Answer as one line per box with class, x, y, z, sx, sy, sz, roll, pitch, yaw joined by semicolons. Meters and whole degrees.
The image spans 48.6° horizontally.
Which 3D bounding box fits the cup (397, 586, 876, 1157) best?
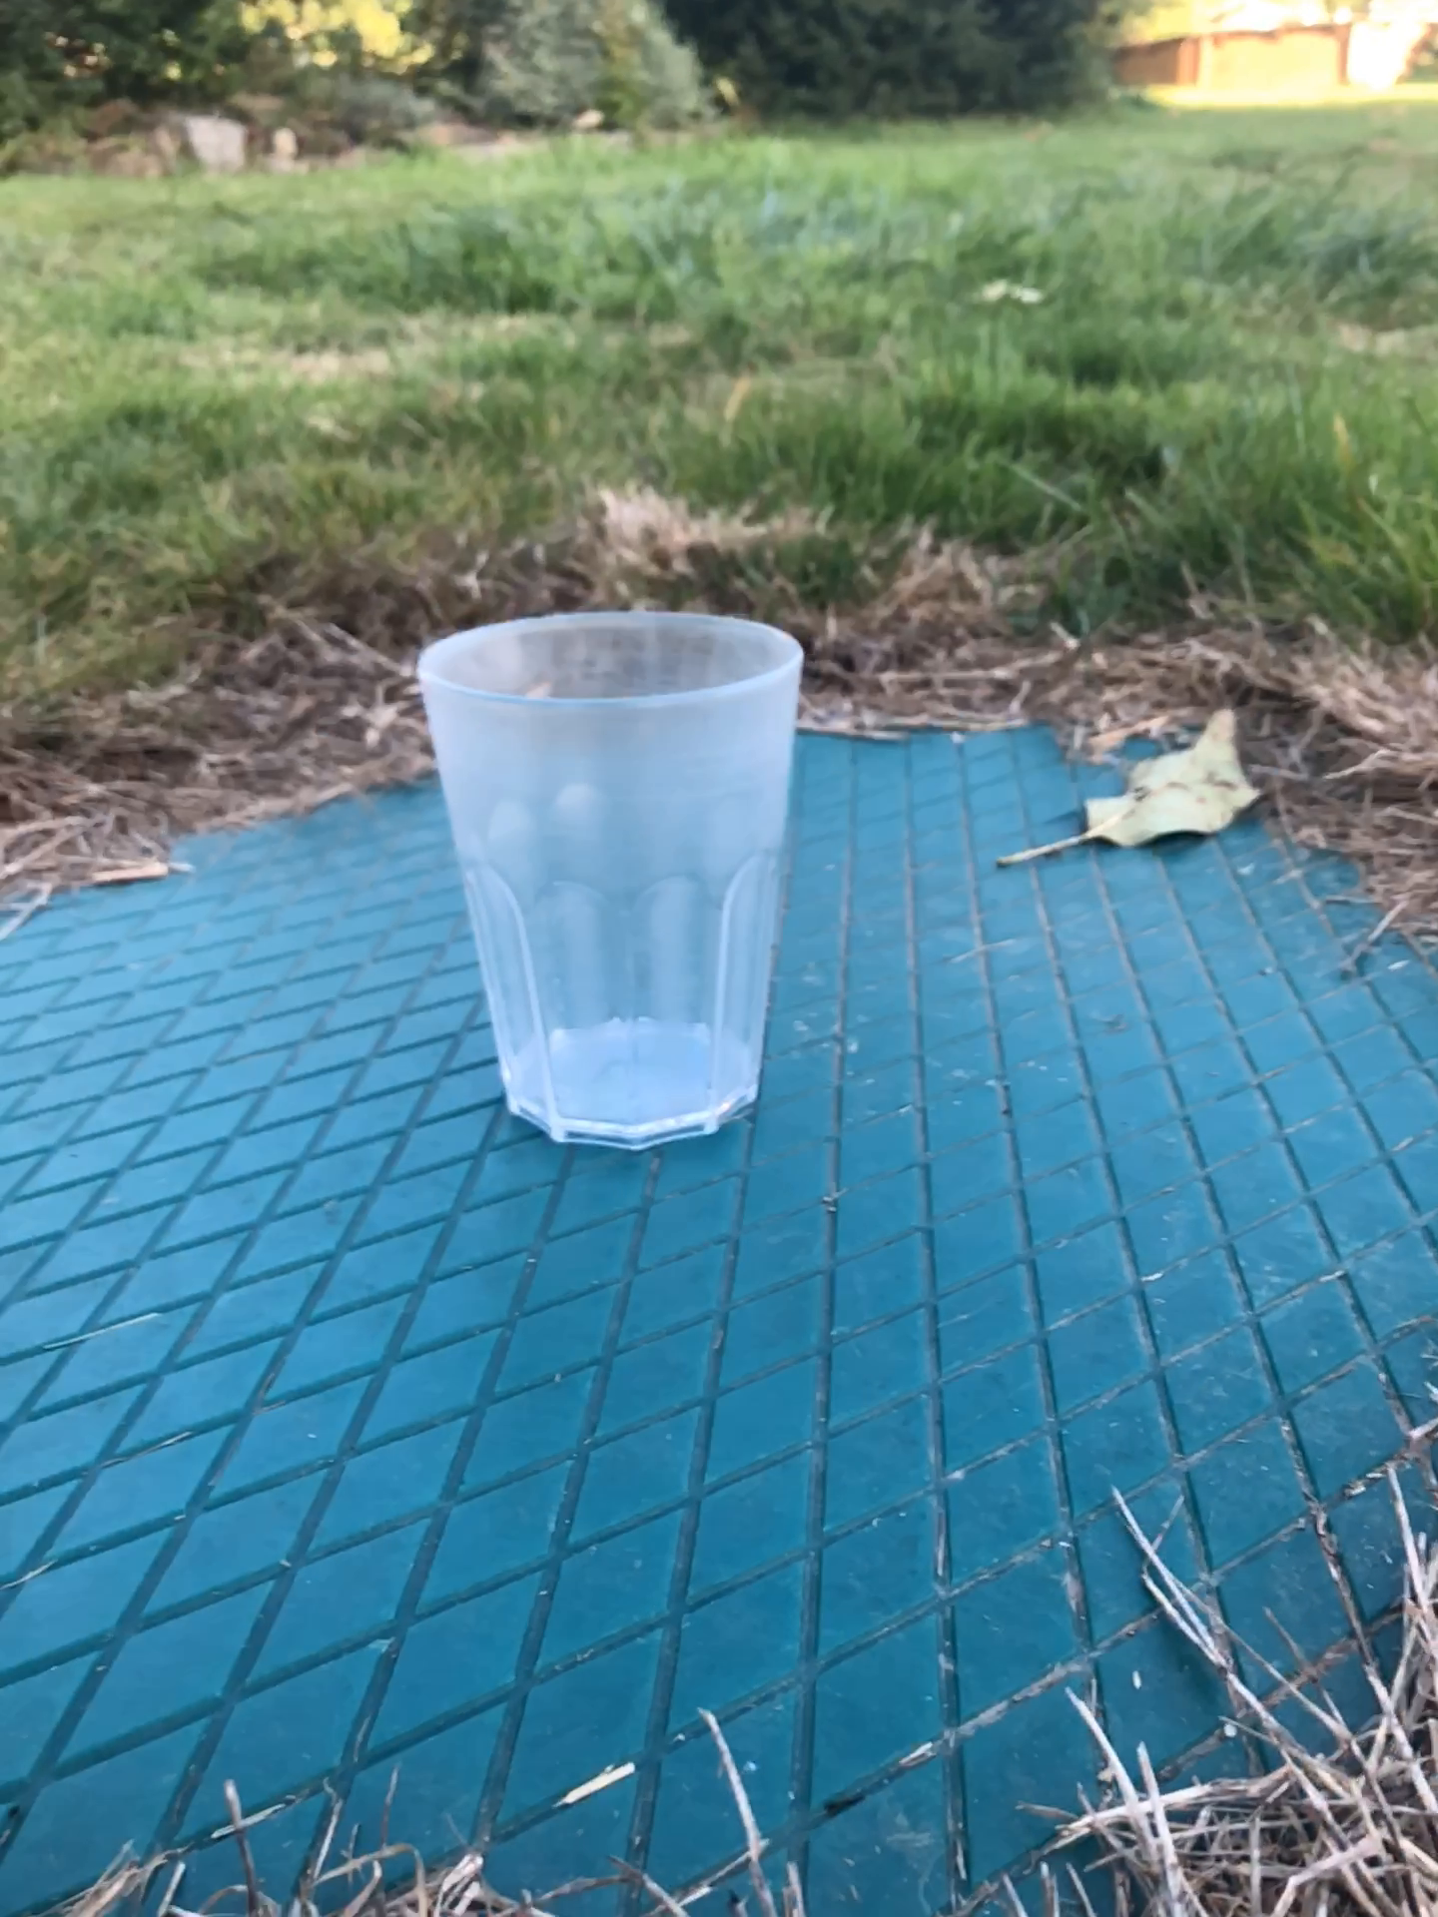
cup;-0.012;-0.026;0.391;0.091;0.113;0.088;-2;23;1
